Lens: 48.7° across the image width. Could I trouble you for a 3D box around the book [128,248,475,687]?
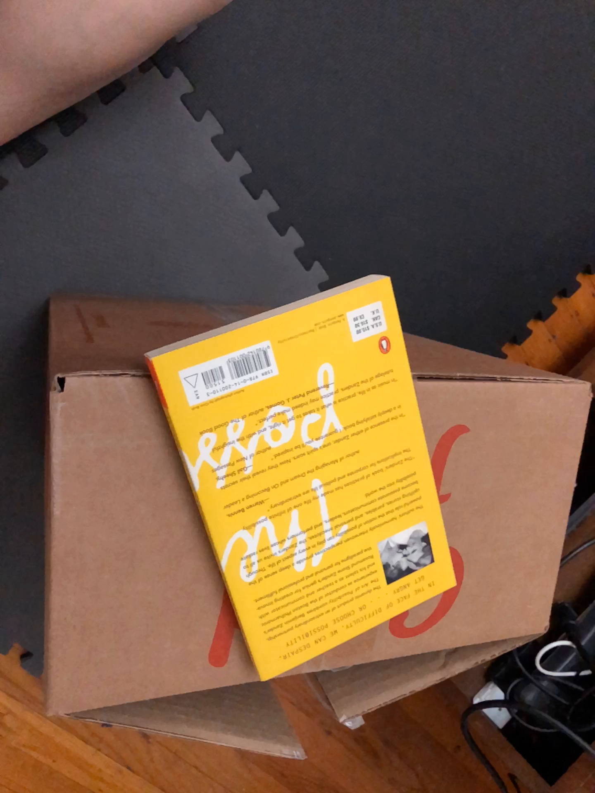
[{"bbox_3d":[0.014,0.041,0.371,0.150,0.020,0.210,-21,109,-16],"label":"book"}]
